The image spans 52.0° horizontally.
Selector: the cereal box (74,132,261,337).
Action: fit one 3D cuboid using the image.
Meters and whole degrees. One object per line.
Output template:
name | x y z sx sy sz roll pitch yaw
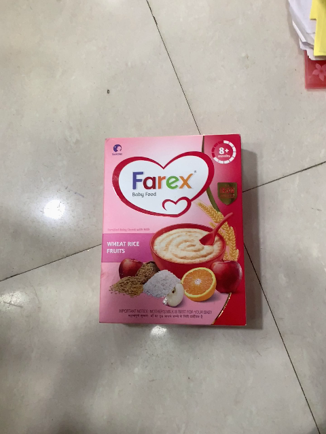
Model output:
cereal box | 0.004 0.017 0.340 0.170 0.050 0.190 -1 82 5
